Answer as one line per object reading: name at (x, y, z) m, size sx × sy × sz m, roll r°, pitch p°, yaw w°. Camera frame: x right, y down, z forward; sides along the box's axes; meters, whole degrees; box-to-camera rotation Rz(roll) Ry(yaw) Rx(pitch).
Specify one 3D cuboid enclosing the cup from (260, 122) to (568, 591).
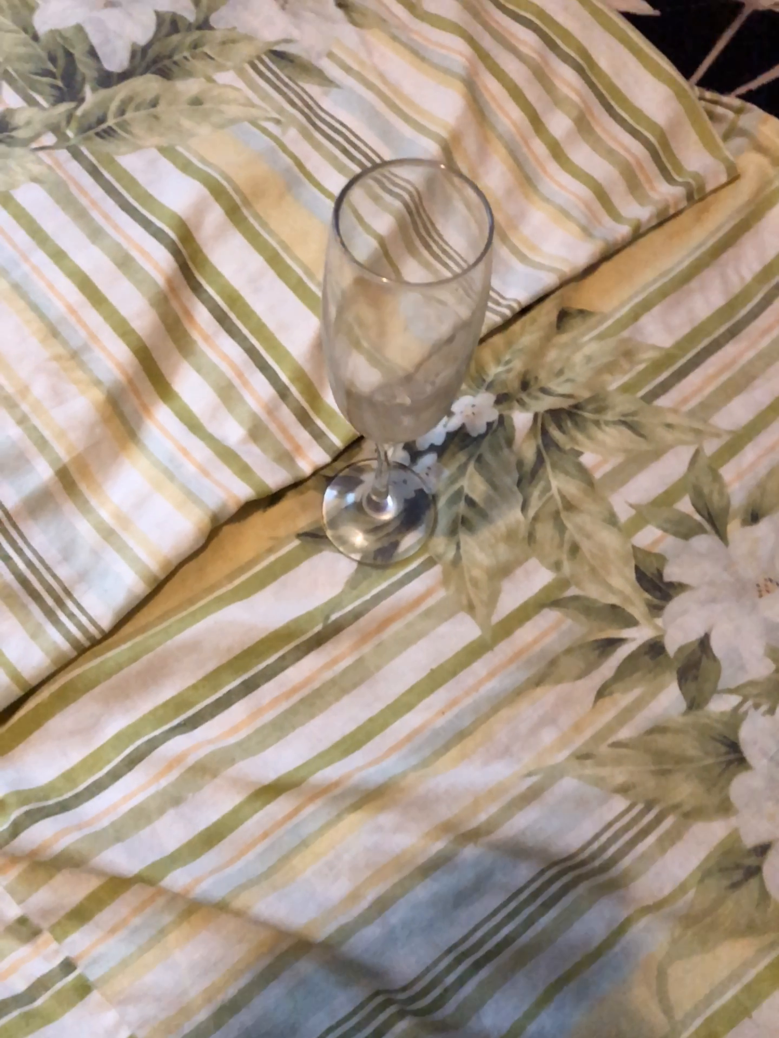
cup at (0.000, -0.048, 0.372) m, size 0.071 × 0.218 × 0.082 m, roll -19°, pitch 72°, yaw -10°
